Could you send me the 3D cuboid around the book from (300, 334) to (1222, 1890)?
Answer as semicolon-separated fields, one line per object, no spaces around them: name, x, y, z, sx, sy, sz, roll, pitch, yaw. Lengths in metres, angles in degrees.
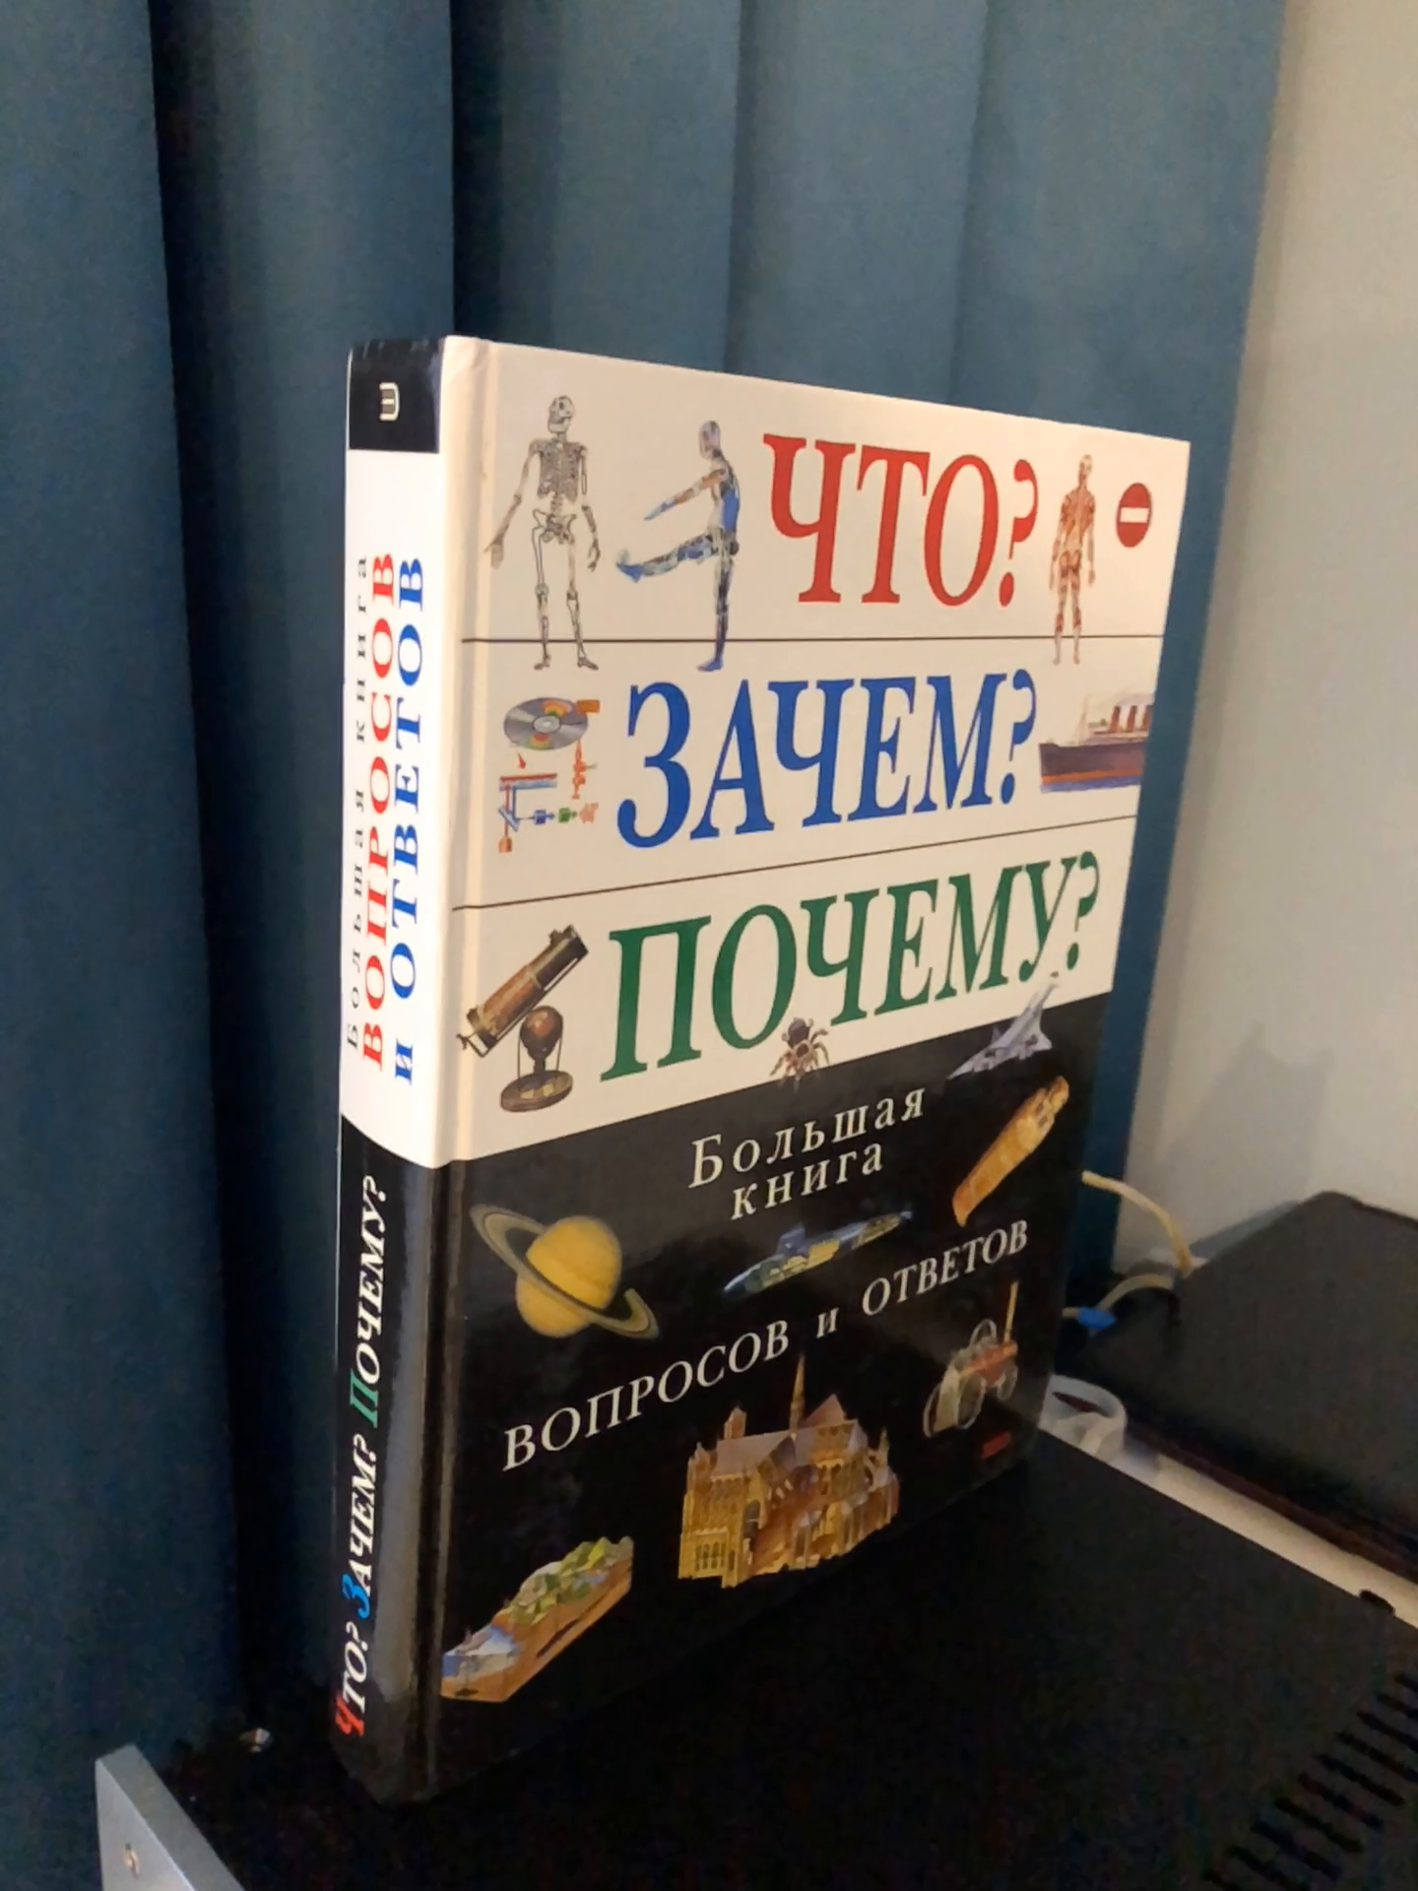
book;0.018;0.031;0.367;0.225;0.301;0.042;-10;21;-42
